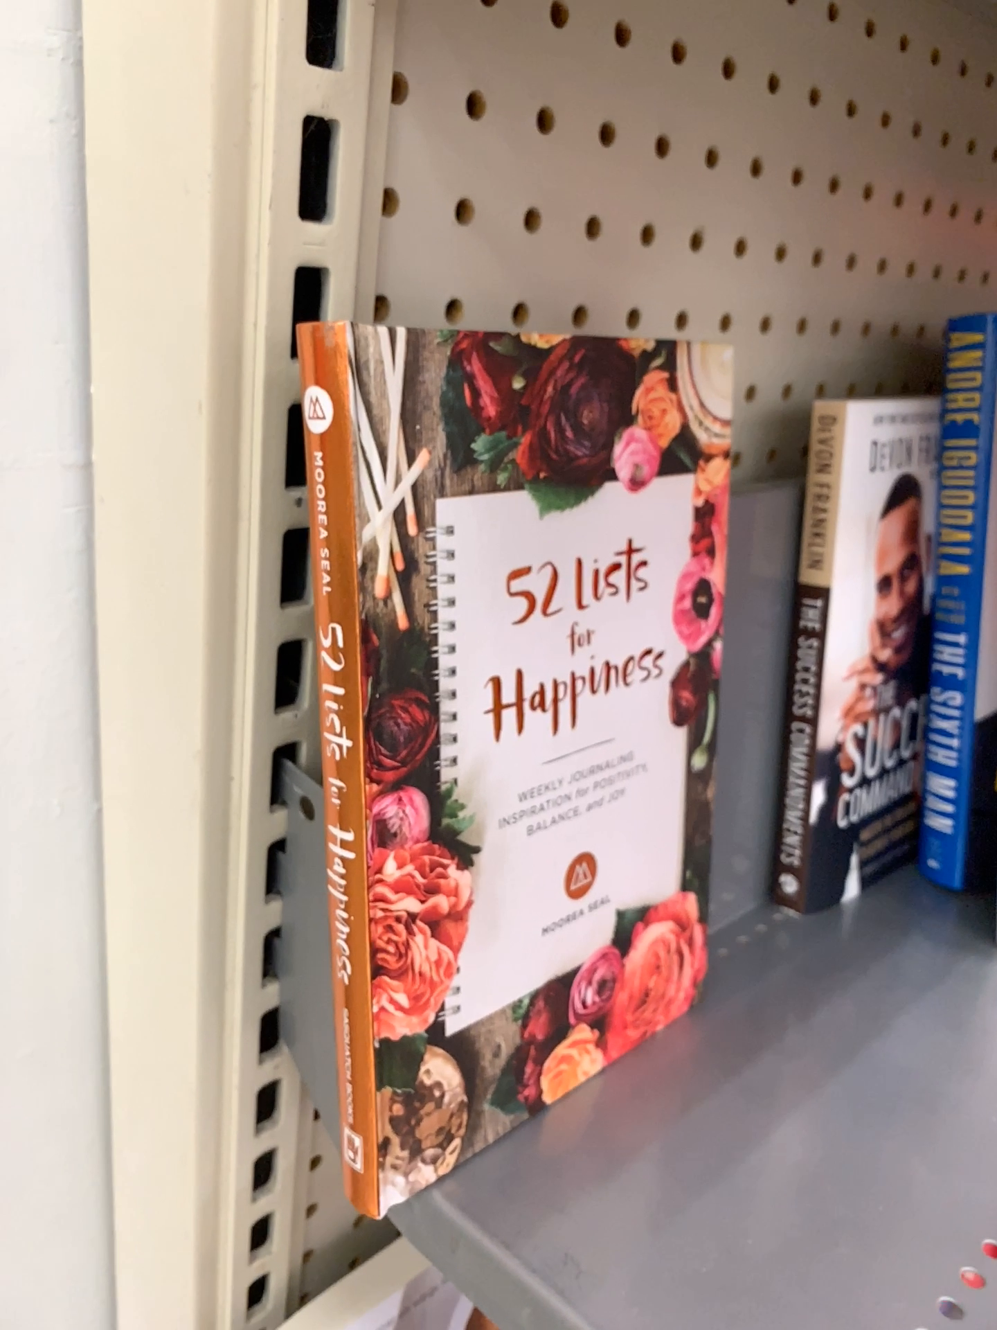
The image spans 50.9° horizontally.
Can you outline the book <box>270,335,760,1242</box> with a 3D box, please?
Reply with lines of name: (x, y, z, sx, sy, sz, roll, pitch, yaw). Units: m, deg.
book: (0.016, 0.023, 0.290, 0.150, 0.216, 0.020, -14, 20, -41)
